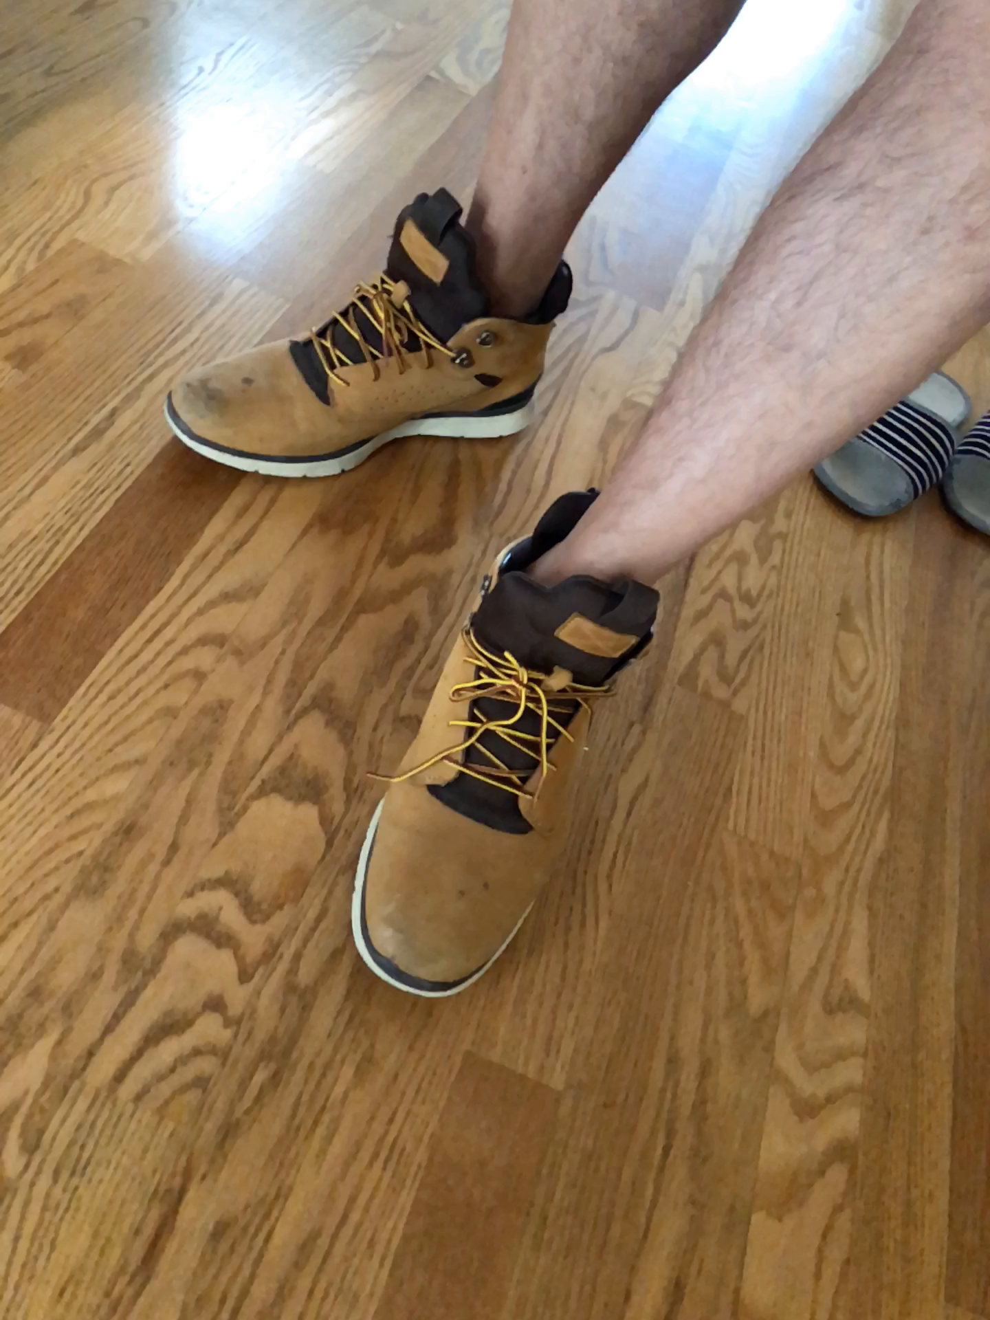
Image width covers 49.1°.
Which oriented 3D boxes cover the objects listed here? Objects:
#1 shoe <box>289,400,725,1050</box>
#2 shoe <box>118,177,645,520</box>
[{"bbox_3d":[0.015,0.023,0.568,0.120,0.139,0.291,24,50,-4],"label":"shoe"},{"bbox_3d":[-0.077,-0.219,0.735,0.311,0.149,0.120,-18,63,-31],"label":"shoe"}]
